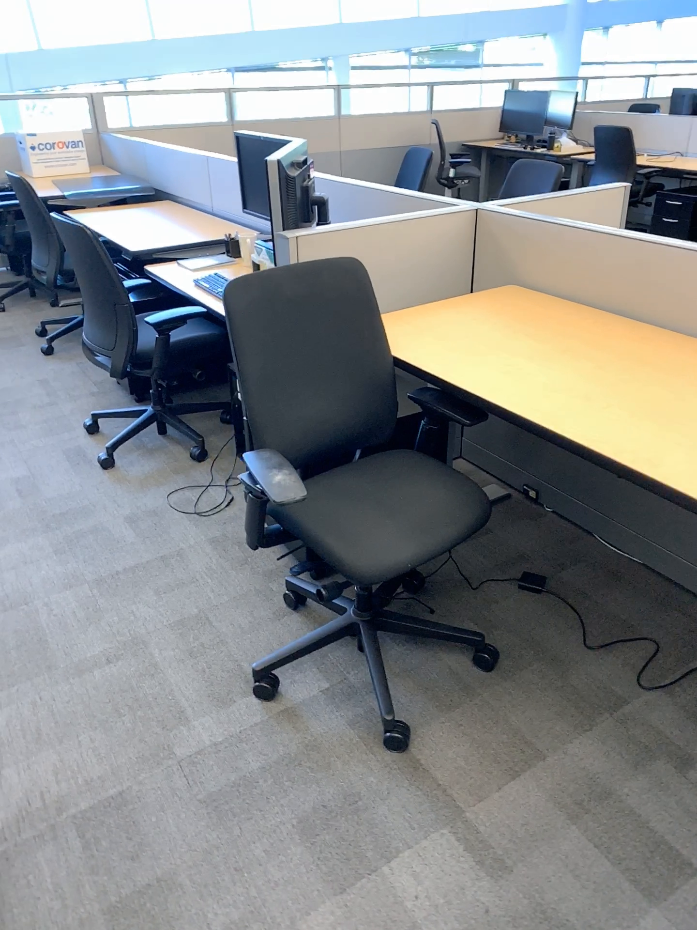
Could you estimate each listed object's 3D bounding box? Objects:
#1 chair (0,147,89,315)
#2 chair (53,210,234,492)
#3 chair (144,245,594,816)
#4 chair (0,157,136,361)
[{"bbox_3d":[-2.278,-1.668,5.038,0.600,0.994,0.563,-13,31,-20],"label":"chair"},{"bbox_3d":[-0.852,-0.497,3.017,0.460,0.994,0.543,-17,33,-26],"label":"chair"},{"bbox_3d":[0.006,0.083,1.731,0.630,0.994,0.764,-18,33,-27],"label":"chair"},{"bbox_3d":[-1.694,-1.220,4.167,0.580,0.994,0.523,-18,33,-27],"label":"chair"}]
